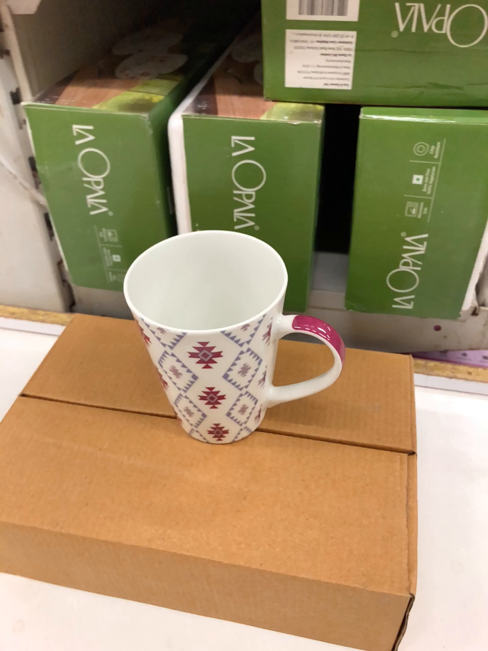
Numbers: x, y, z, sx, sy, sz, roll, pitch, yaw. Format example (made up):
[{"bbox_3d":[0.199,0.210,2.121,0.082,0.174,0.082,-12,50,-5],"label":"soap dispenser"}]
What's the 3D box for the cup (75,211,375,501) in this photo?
[{"bbox_3d":[-0.005,0.013,0.290,0.120,0.099,0.081,14,42,17],"label":"cup"}]
